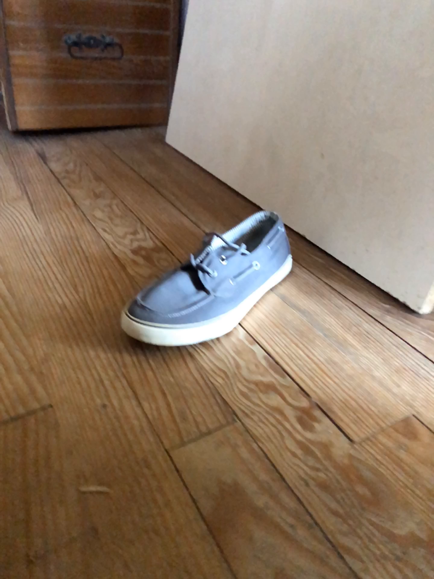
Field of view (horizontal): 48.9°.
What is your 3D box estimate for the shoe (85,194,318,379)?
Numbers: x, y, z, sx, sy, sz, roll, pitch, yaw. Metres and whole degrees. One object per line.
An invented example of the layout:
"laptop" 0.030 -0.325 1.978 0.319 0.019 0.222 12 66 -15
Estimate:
"shoe" -0.001 -0.022 0.527 0.100 0.060 0.272 24 41 29
